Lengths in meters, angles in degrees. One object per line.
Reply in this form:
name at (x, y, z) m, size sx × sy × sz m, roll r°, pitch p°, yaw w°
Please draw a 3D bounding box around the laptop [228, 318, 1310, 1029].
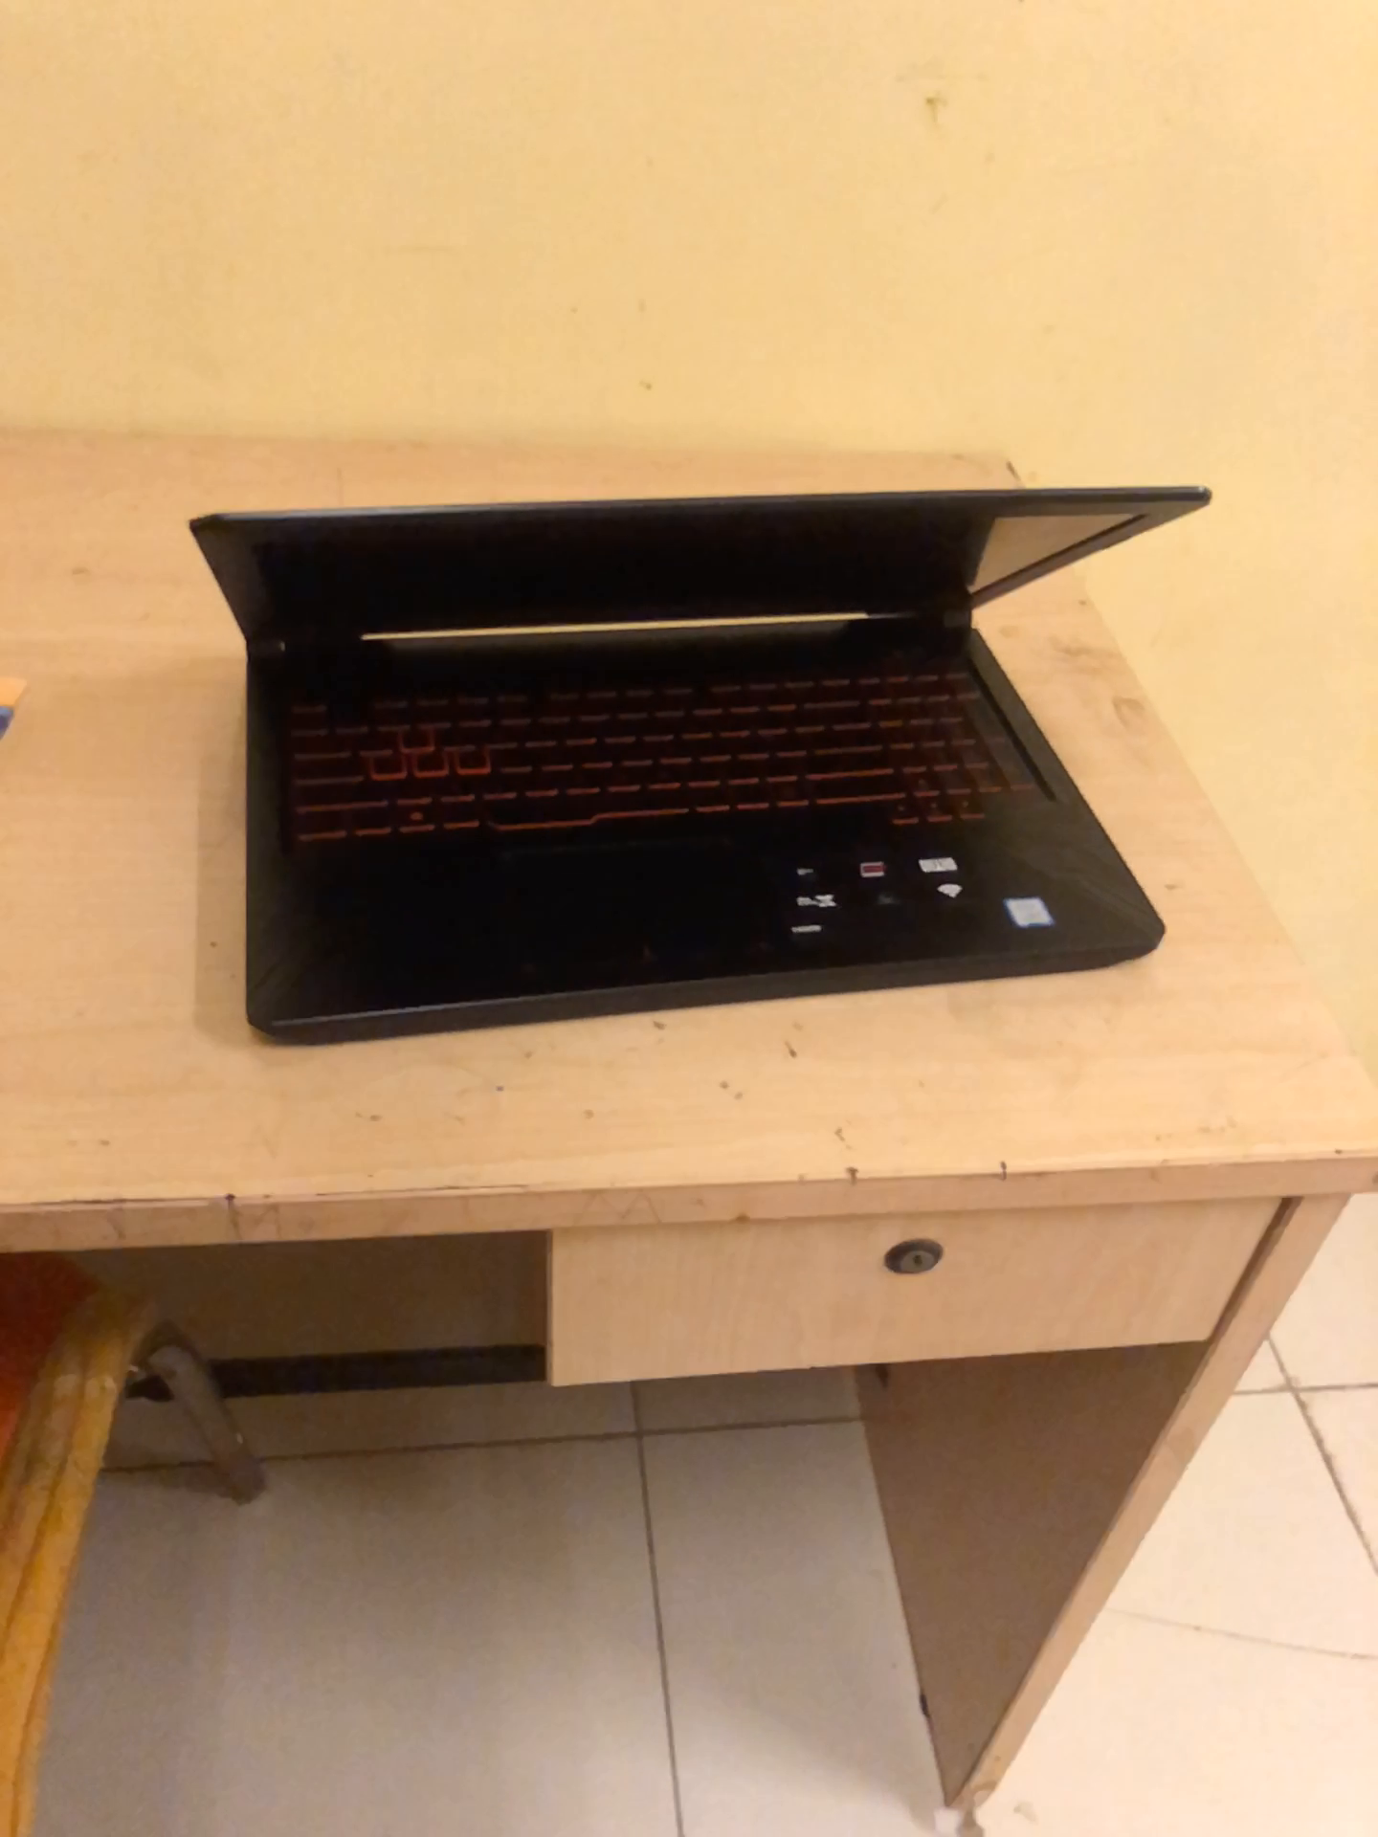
laptop at (0.005, -0.122, 0.649) m, size 0.370 × 0.173 × 0.253 m, roll -5°, pitch 42°, yaw -12°
